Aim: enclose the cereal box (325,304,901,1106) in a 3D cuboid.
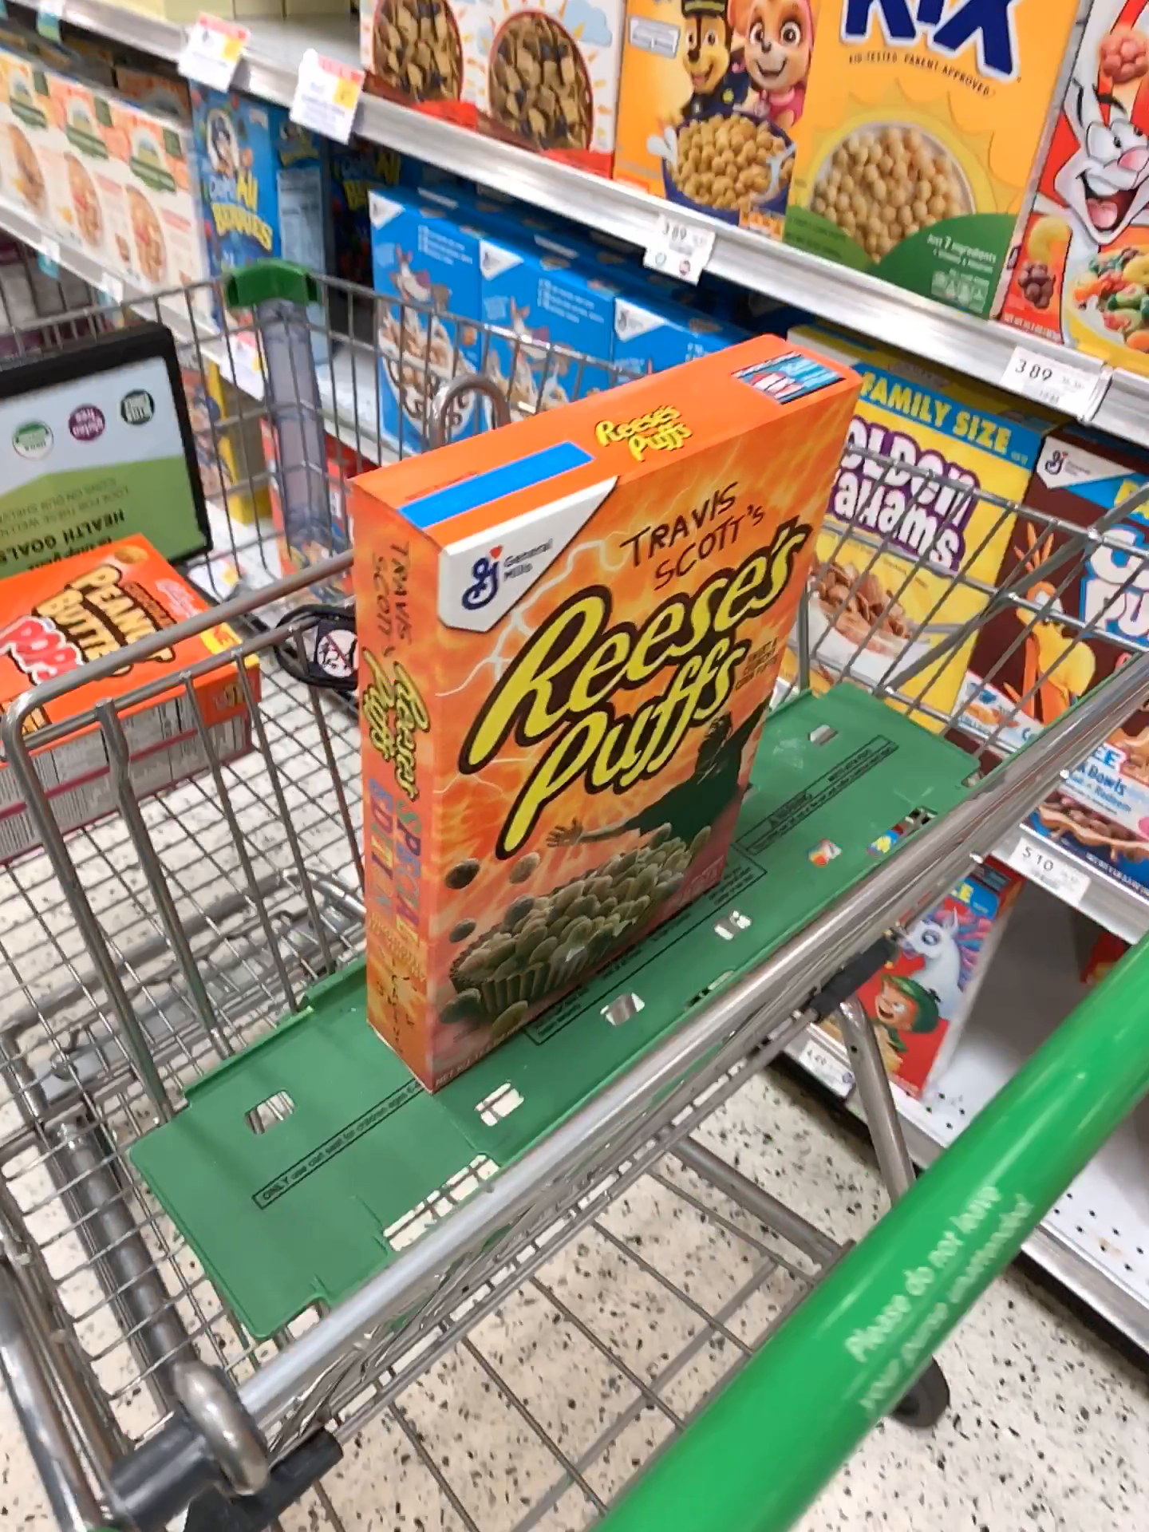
[{"bbox_3d":[0.011,-0.016,0.472,0.211,0.277,0.050,-30,54,-33],"label":"cereal box"}]
